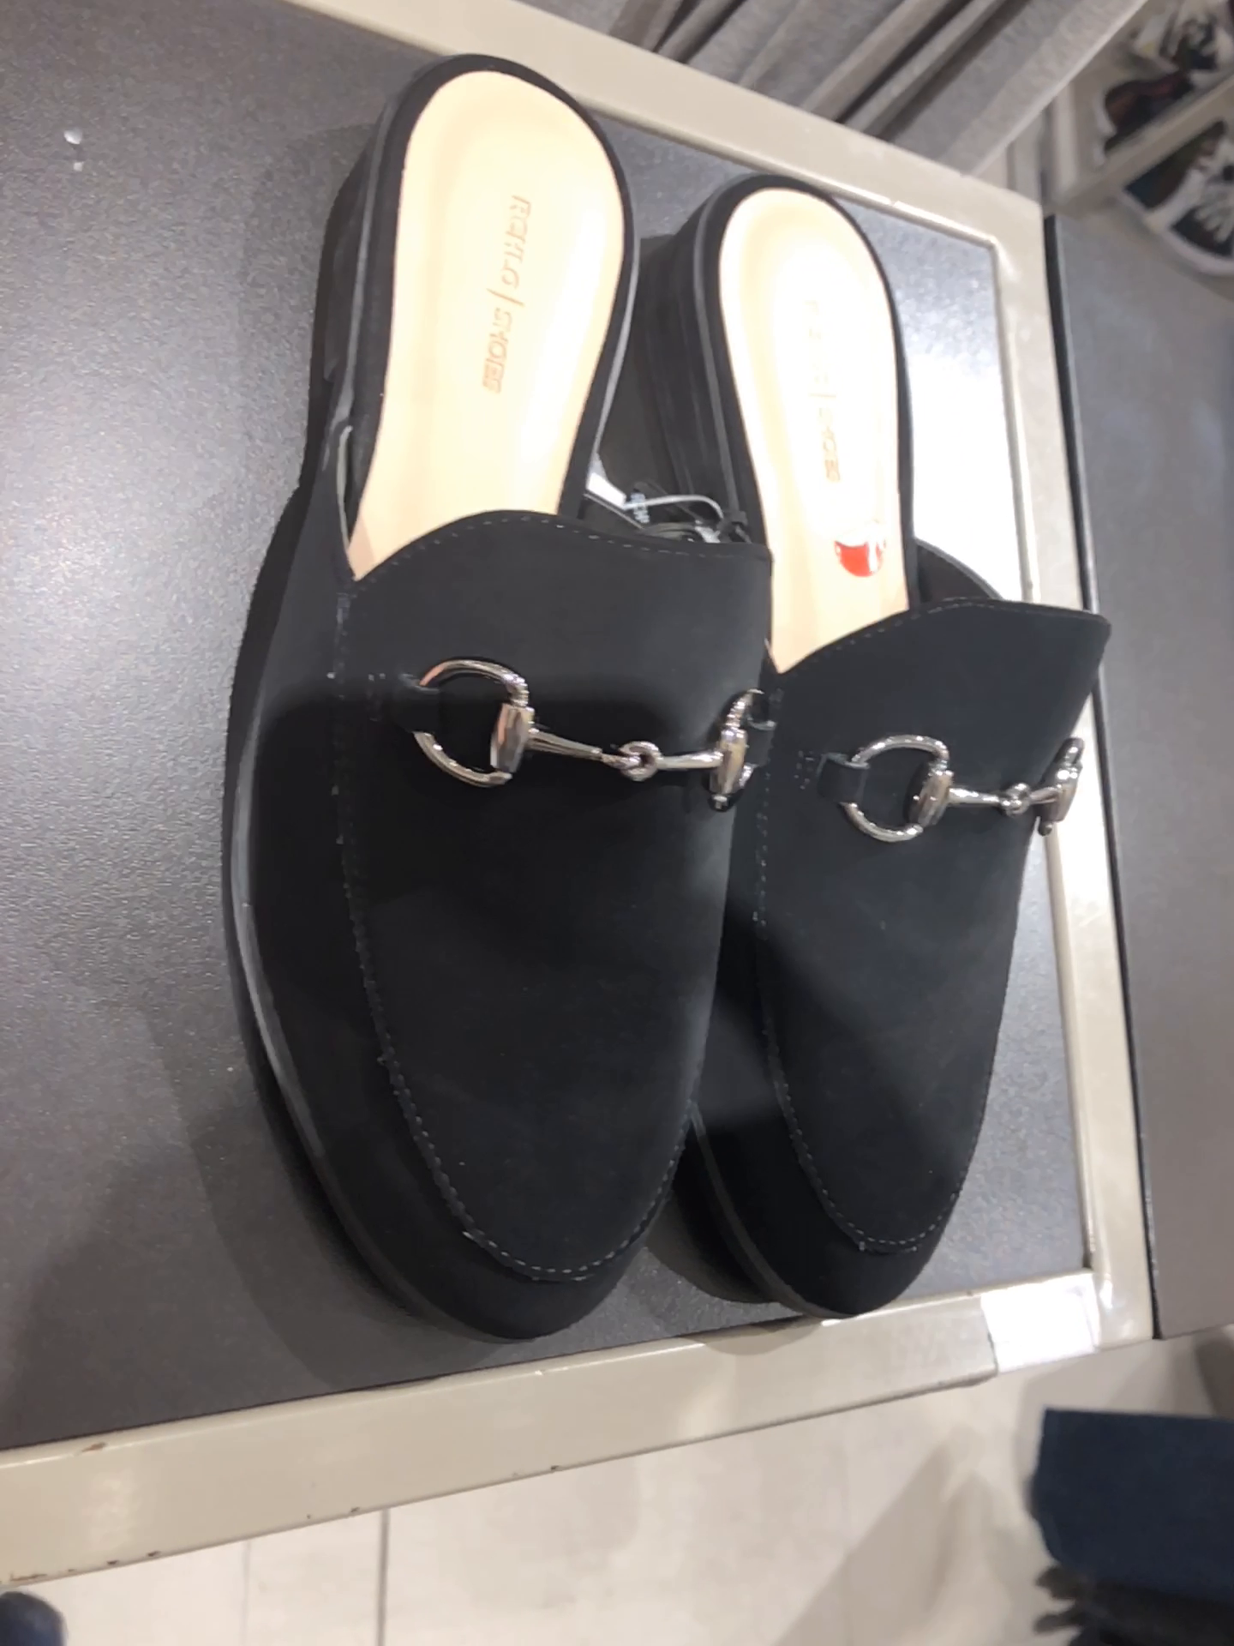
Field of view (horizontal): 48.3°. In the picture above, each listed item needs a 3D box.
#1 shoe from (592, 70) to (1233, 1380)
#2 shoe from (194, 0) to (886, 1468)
[{"bbox_3d":[0.060,-0.018,0.278,0.090,0.070,0.220,0,80,-30],"label":"shoe"},{"bbox_3d":[-0.016,-0.023,0.241,0.090,0.080,0.220,3,84,-30],"label":"shoe"}]
